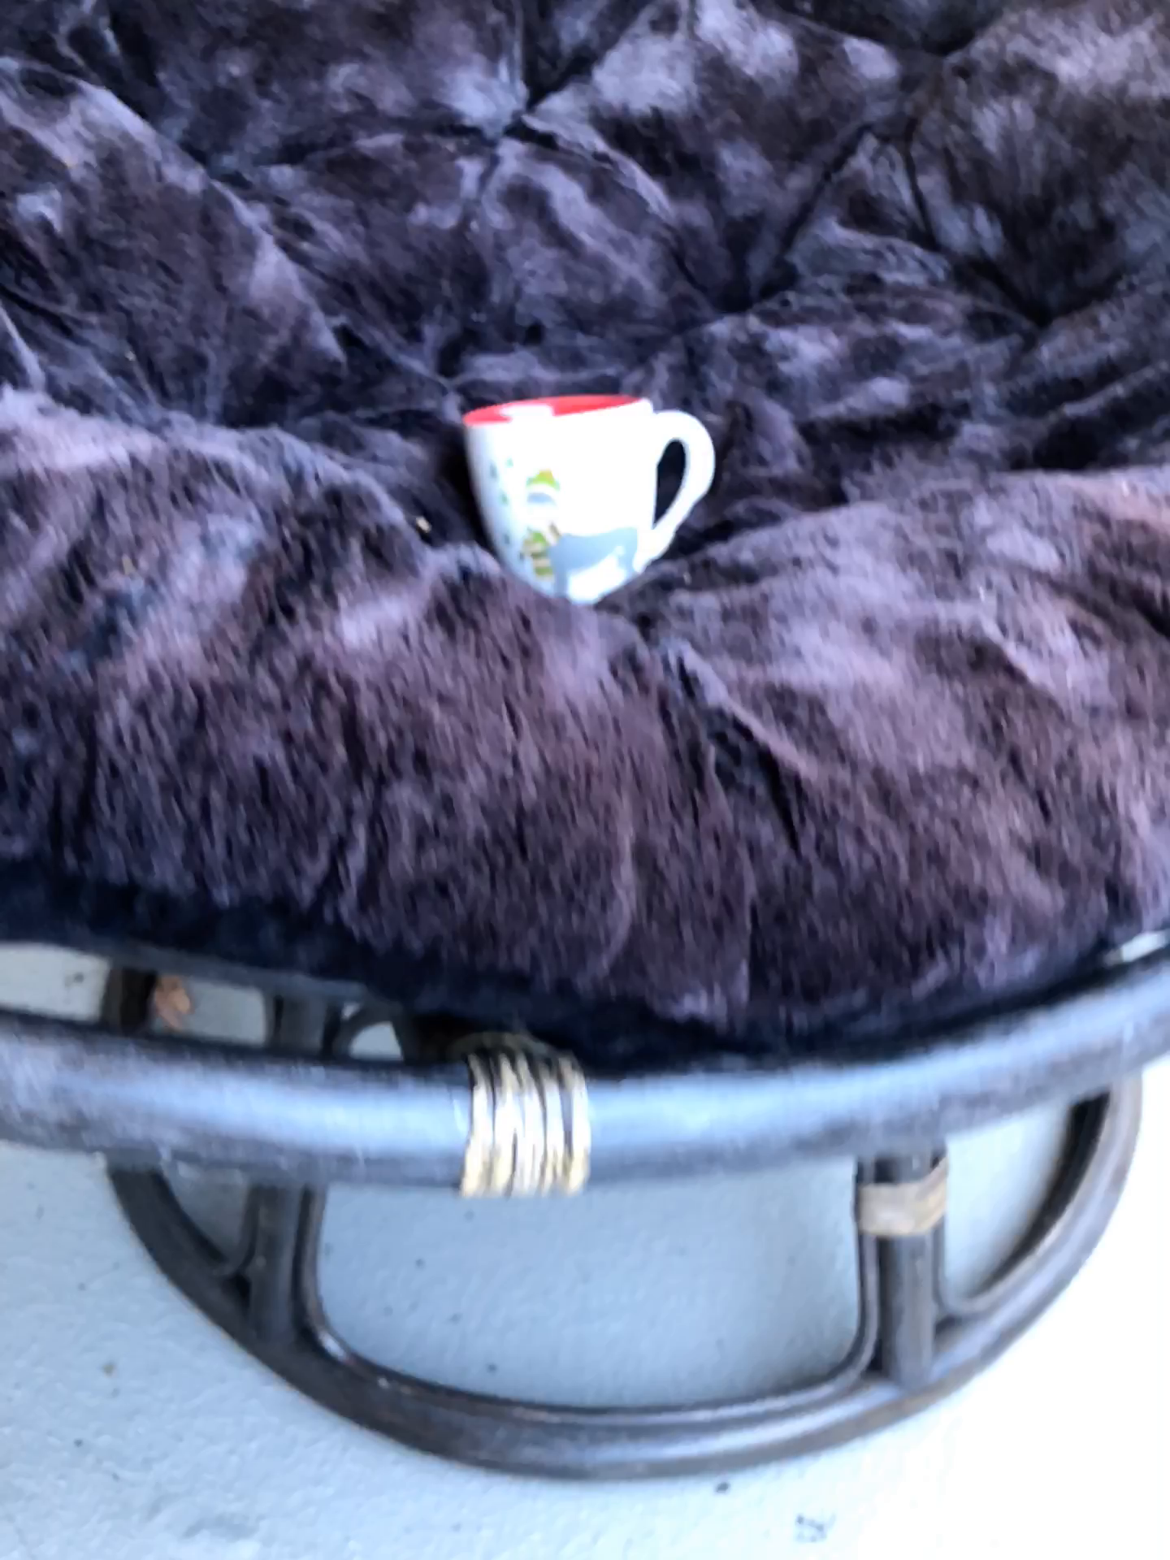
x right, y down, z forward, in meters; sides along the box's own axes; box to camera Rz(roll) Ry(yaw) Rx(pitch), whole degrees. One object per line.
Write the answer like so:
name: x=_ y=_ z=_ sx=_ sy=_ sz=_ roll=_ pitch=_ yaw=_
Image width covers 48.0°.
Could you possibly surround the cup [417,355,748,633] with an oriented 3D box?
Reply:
cup: x=0.001 y=-0.162 z=0.719 sx=0.140 sy=0.110 sz=0.100 roll=-20 pitch=29 yaw=-27
